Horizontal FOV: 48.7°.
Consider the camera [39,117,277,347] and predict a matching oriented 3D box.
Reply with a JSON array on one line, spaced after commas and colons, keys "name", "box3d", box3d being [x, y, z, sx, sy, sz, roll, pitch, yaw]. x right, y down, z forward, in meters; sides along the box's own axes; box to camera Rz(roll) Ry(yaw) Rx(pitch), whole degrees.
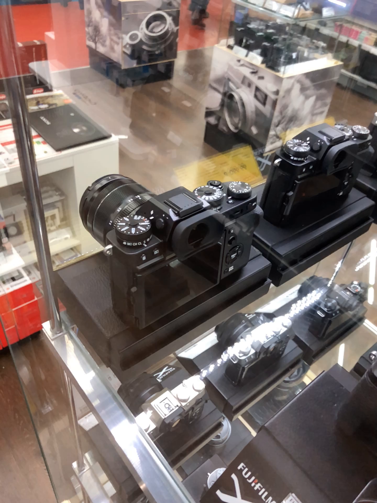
[{"name": "camera", "box3d": [-0.027, -0.025, 0.339, 0.129, 0.099, 0.120, -27, 53, -33]}]

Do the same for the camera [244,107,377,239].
[{"name": "camera", "box3d": [0.134, -0.087, 0.441, 0.125, 0.088, 0.066, -25, 52, -32]}]

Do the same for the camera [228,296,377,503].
[{"name": "camera", "box3d": [0.112, 0.115, 0.215, 0.115, 0.088, 0.125, -24, 51, -31]}]
